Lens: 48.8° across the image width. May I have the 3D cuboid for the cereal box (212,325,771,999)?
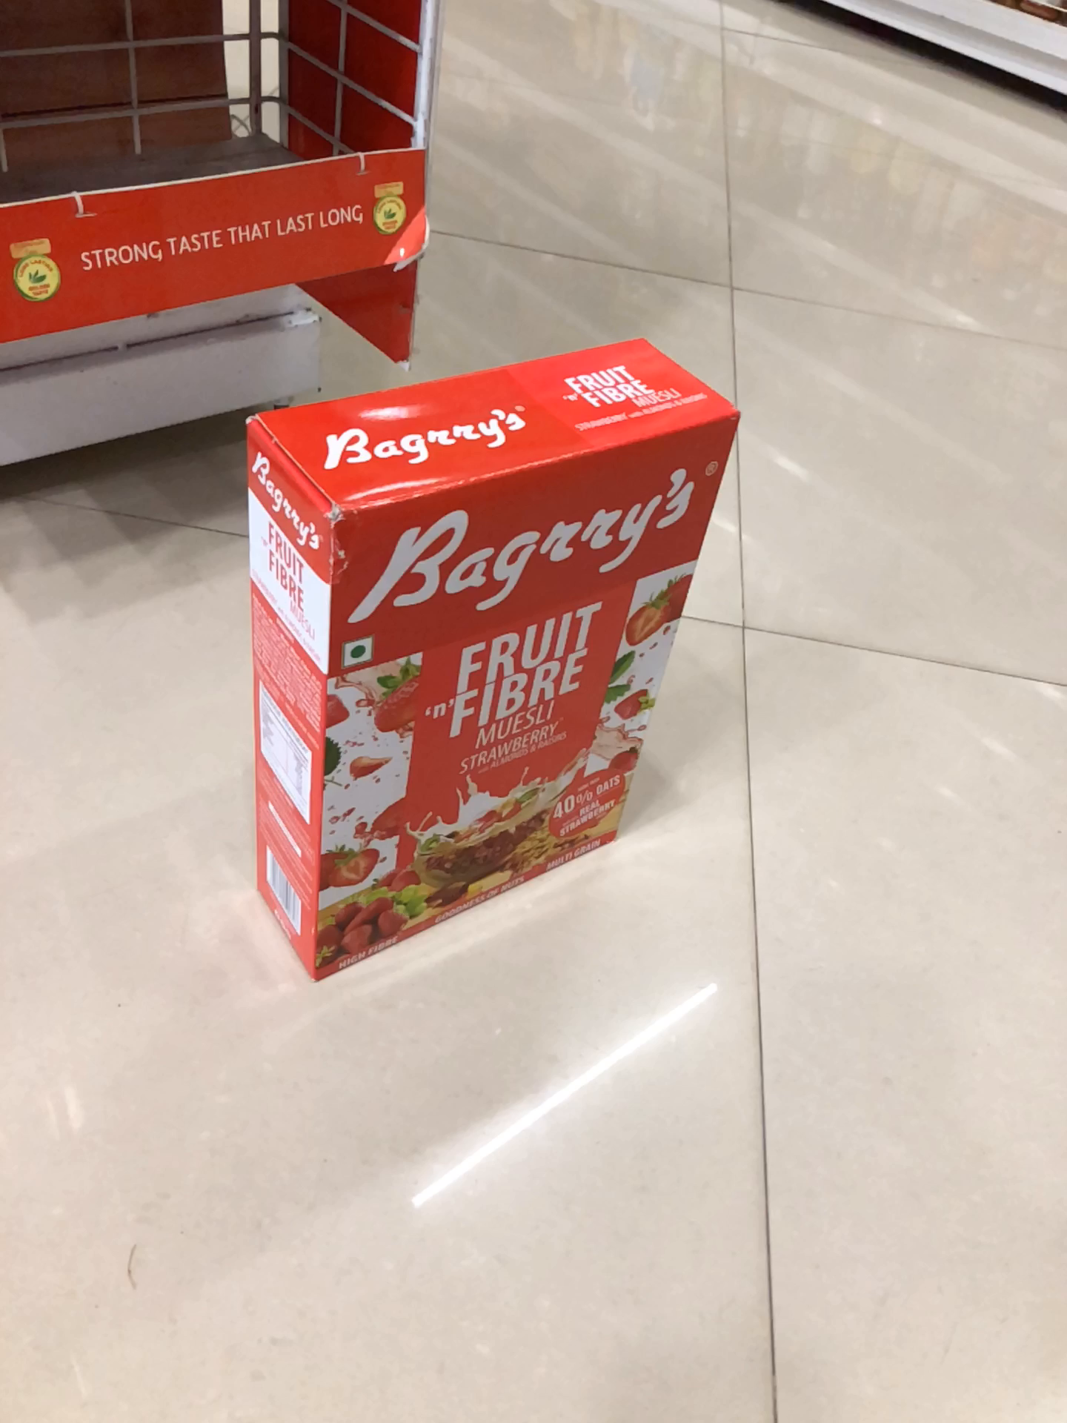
[{"bbox_3d":[-0.025,-0.017,0.516,0.201,0.258,0.070,-21,51,-30],"label":"cereal box"}]
